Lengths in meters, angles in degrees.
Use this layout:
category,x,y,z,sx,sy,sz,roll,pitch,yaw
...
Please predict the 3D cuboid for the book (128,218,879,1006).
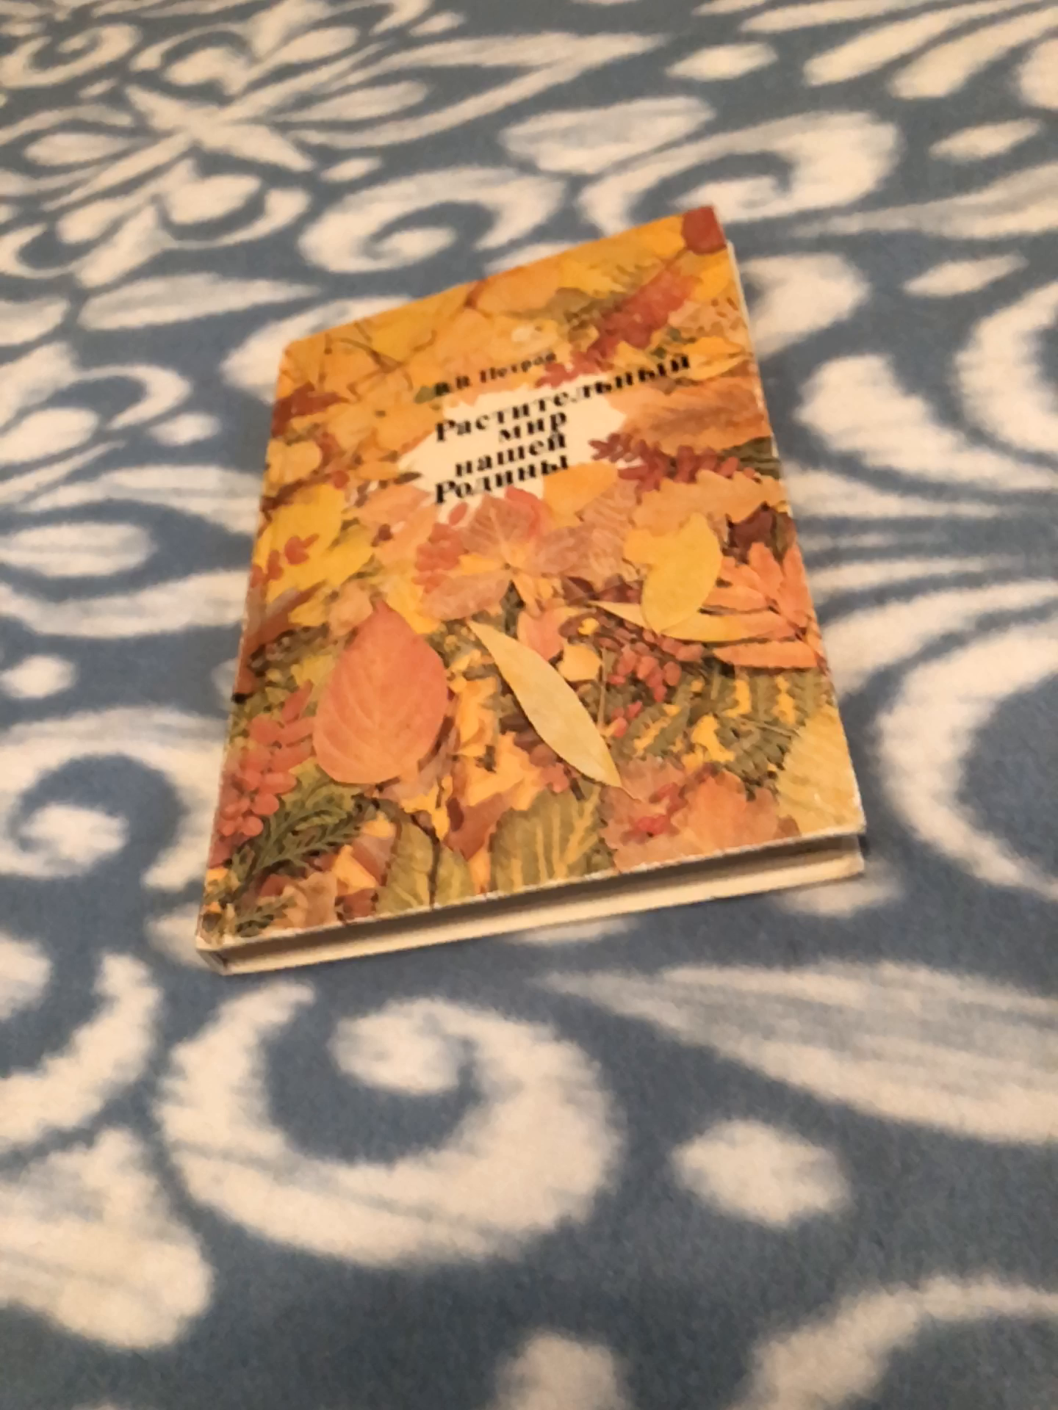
category,x,y,z,sx,sy,sz,roll,pitch,yaw
book,-0.012,-0.037,0.306,0.157,0.020,0.208,-12,52,12
